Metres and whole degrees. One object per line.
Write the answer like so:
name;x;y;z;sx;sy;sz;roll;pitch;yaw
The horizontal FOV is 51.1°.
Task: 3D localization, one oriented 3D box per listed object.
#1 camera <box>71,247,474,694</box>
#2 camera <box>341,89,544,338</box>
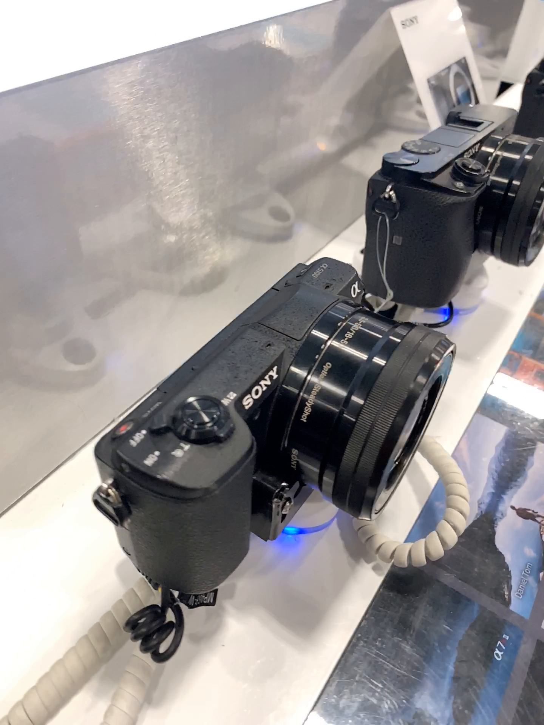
camera;0.007;0.024;0.182;0.066;0.060;0.113;26;46;20
camera;0.102;-0.083;0.282;0.071;0.060;0.137;26;46;26
